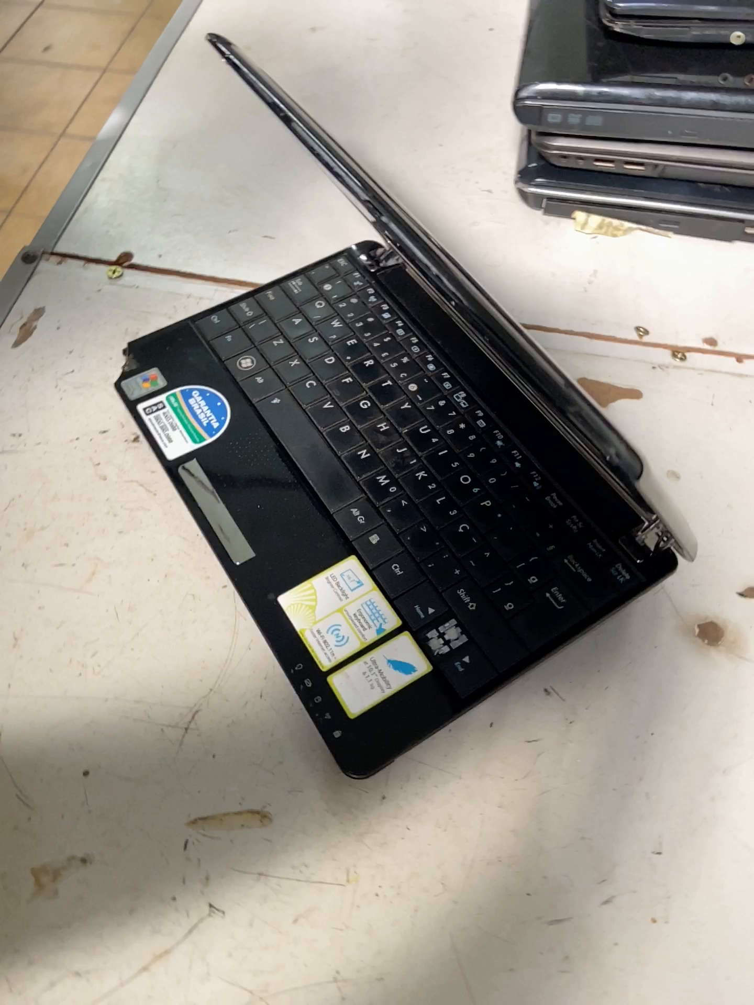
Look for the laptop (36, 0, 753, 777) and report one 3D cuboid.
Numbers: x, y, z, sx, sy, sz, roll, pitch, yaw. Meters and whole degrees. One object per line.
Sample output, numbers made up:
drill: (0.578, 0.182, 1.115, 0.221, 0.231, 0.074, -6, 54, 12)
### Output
laptop: (-0.001, -0.065, 0.330, 0.168, 0.137, 0.262, -27, 62, -17)
